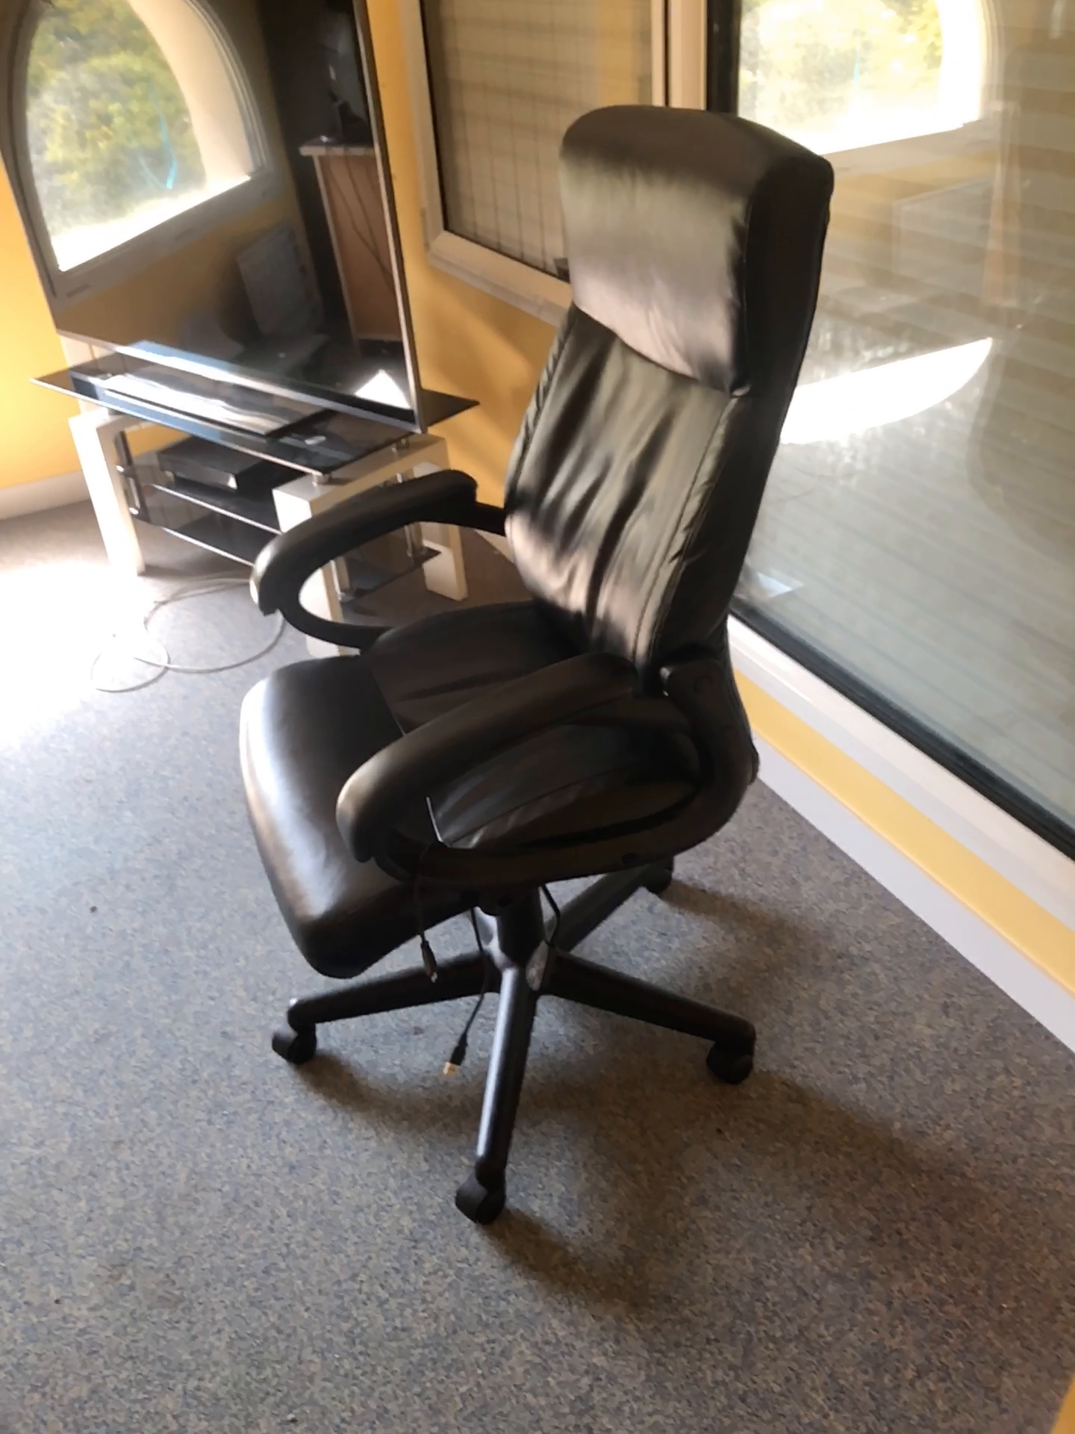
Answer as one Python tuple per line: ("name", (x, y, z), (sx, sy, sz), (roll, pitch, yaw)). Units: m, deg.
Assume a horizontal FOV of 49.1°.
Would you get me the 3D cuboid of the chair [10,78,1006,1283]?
("chair", (-0.051, -0.076, 1.416), (0.752, 1.113, 0.663), (-17, 35, -17))
